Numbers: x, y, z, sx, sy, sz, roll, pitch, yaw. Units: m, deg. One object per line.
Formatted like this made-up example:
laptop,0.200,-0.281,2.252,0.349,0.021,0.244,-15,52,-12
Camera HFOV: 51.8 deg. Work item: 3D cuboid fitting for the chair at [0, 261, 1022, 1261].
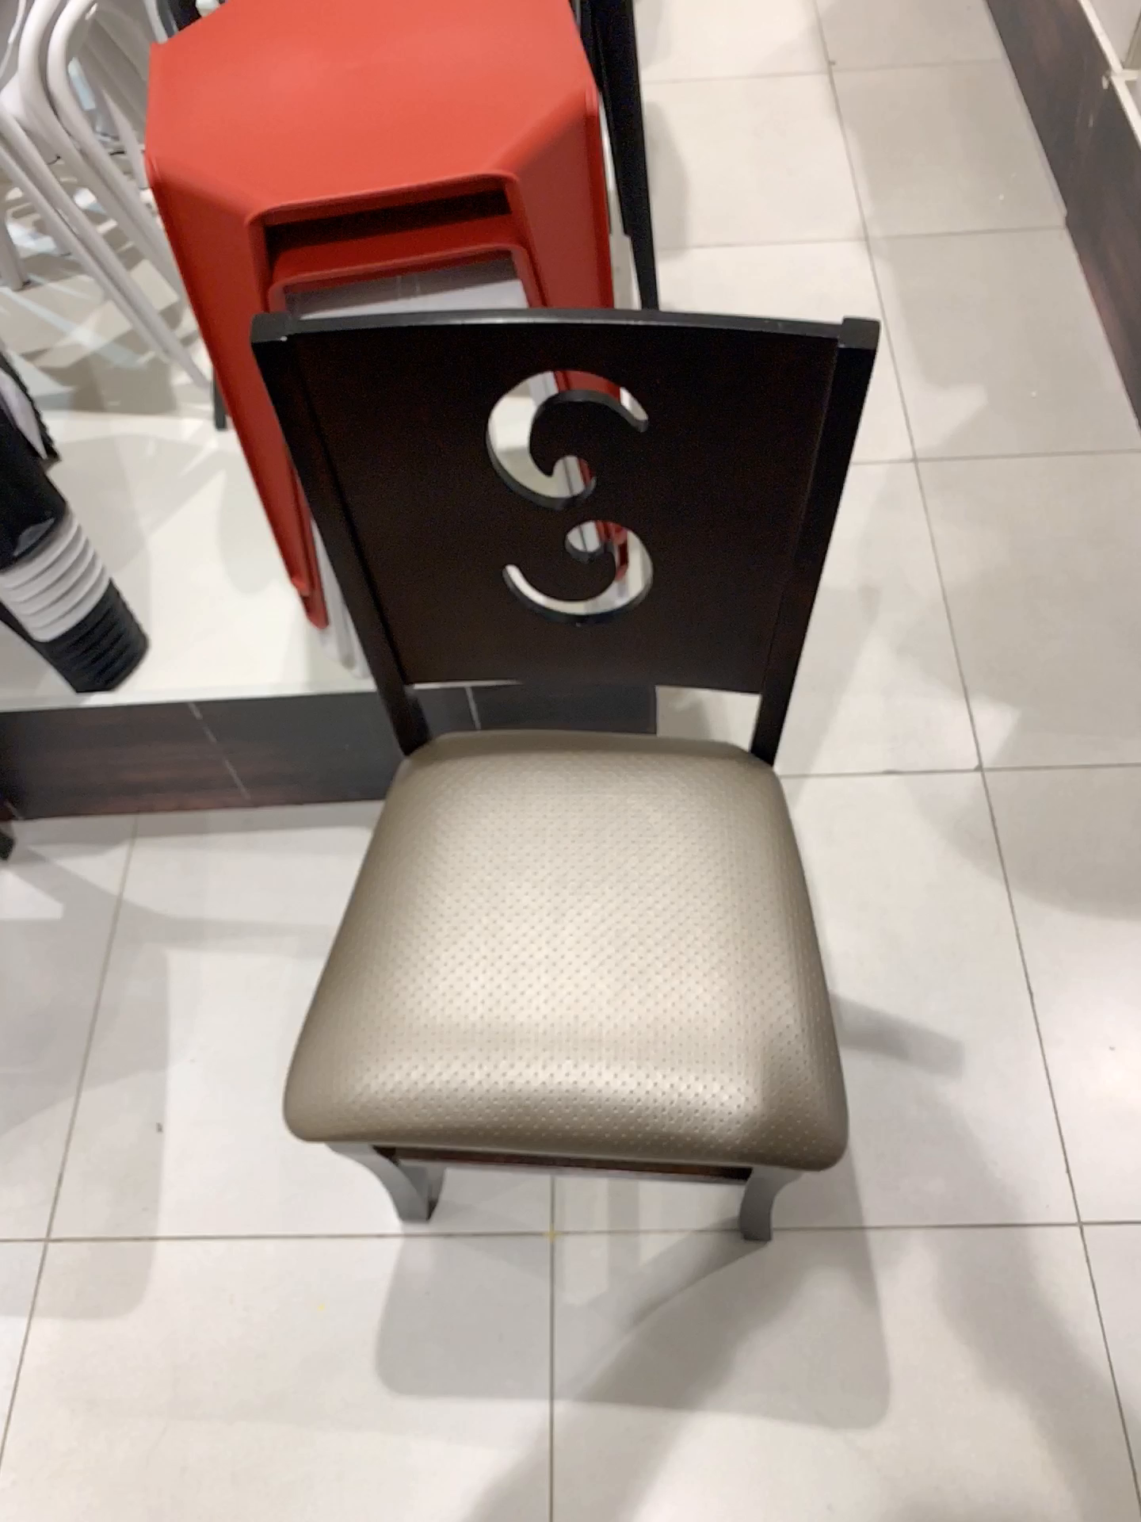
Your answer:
chair,-0.014,0.094,1.064,0.500,0.849,0.521,0,58,3
